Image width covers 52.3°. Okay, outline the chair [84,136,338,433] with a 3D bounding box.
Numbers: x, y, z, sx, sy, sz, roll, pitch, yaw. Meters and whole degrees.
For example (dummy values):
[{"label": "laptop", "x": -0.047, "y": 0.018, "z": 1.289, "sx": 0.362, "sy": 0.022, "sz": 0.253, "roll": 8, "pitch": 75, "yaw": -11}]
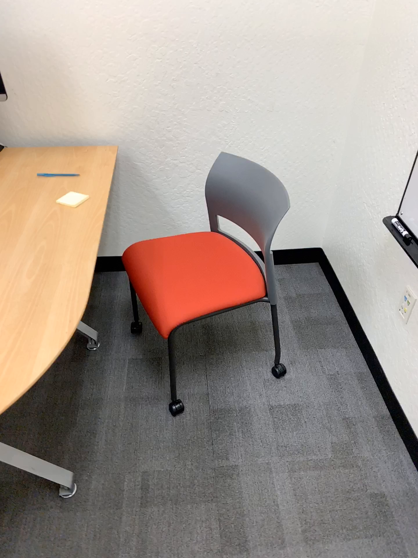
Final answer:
[{"label": "chair", "x": -0.038, "y": -0.006, "z": 1.915, "sx": 0.720, "sy": 0.914, "sz": 0.745, "roll": -17, "pitch": 43, "yaw": -20}]
